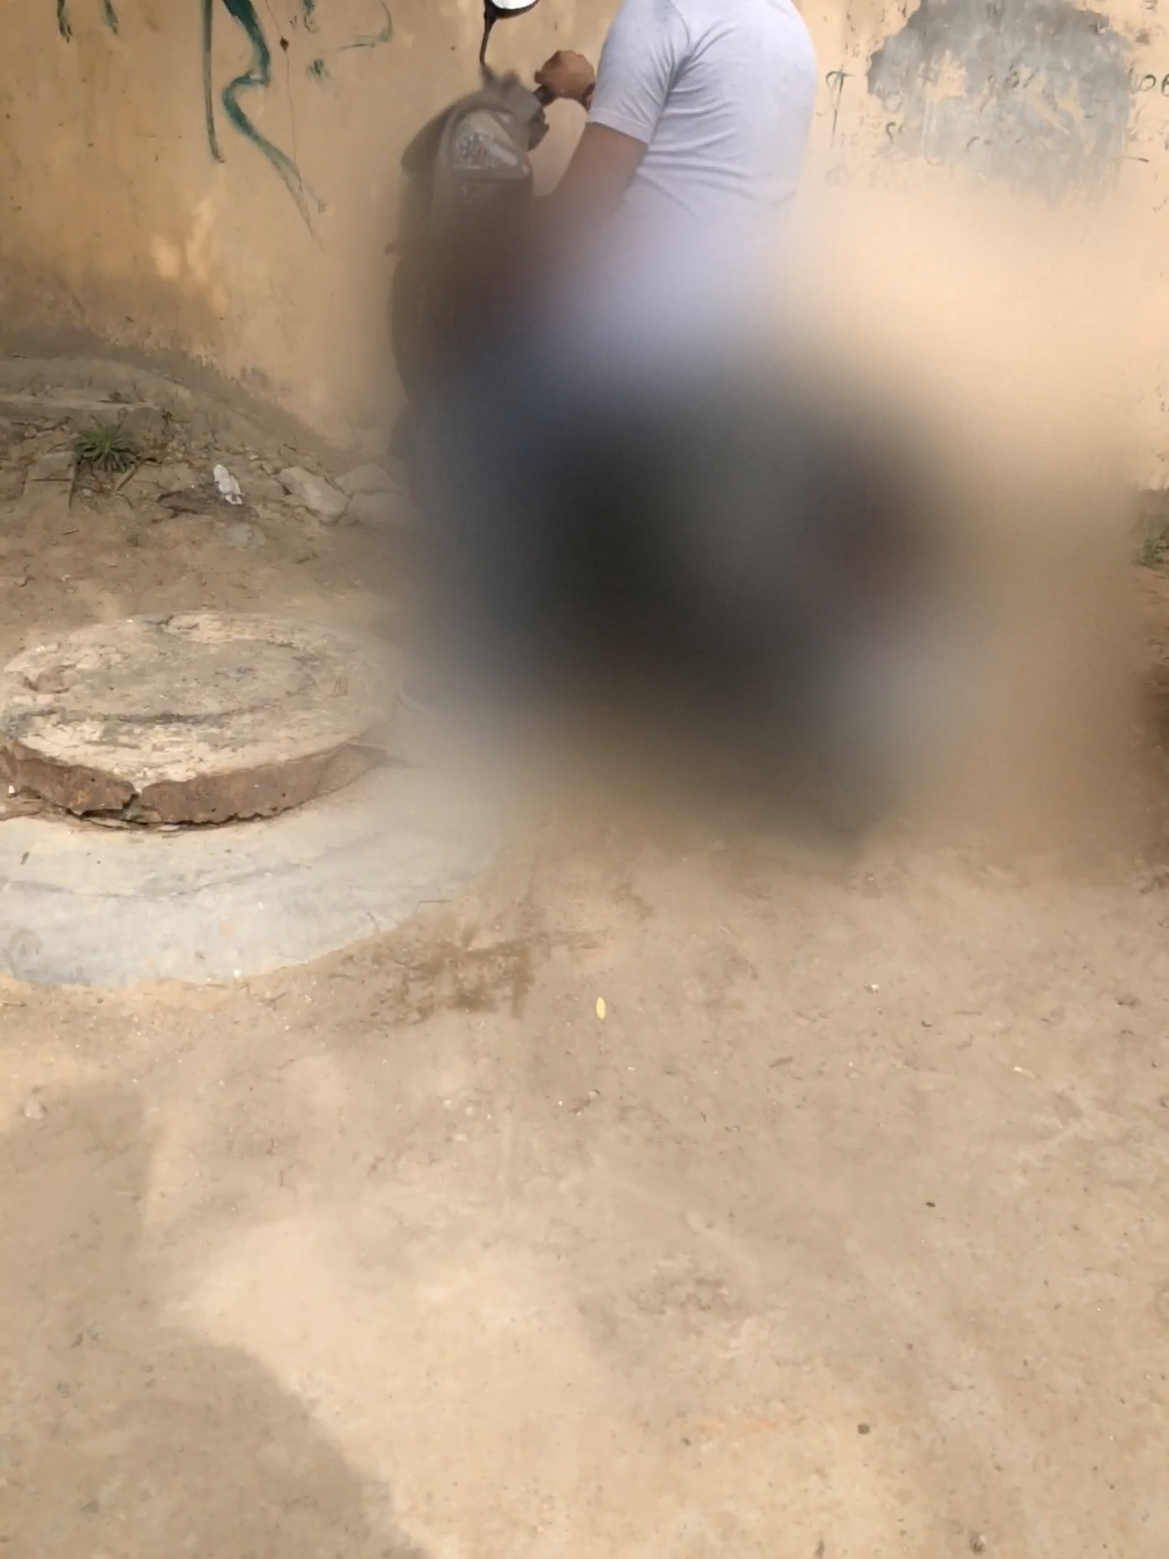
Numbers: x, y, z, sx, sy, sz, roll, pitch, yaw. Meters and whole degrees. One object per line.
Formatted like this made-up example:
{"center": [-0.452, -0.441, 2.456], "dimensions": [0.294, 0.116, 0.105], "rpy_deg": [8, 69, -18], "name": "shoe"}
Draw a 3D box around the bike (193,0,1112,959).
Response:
{"center": [-0.061, -0.715, 2.443], "dimensions": [0.654, 1.228, 1.654], "rpy_deg": [-16, 36, -35], "name": "bike"}
